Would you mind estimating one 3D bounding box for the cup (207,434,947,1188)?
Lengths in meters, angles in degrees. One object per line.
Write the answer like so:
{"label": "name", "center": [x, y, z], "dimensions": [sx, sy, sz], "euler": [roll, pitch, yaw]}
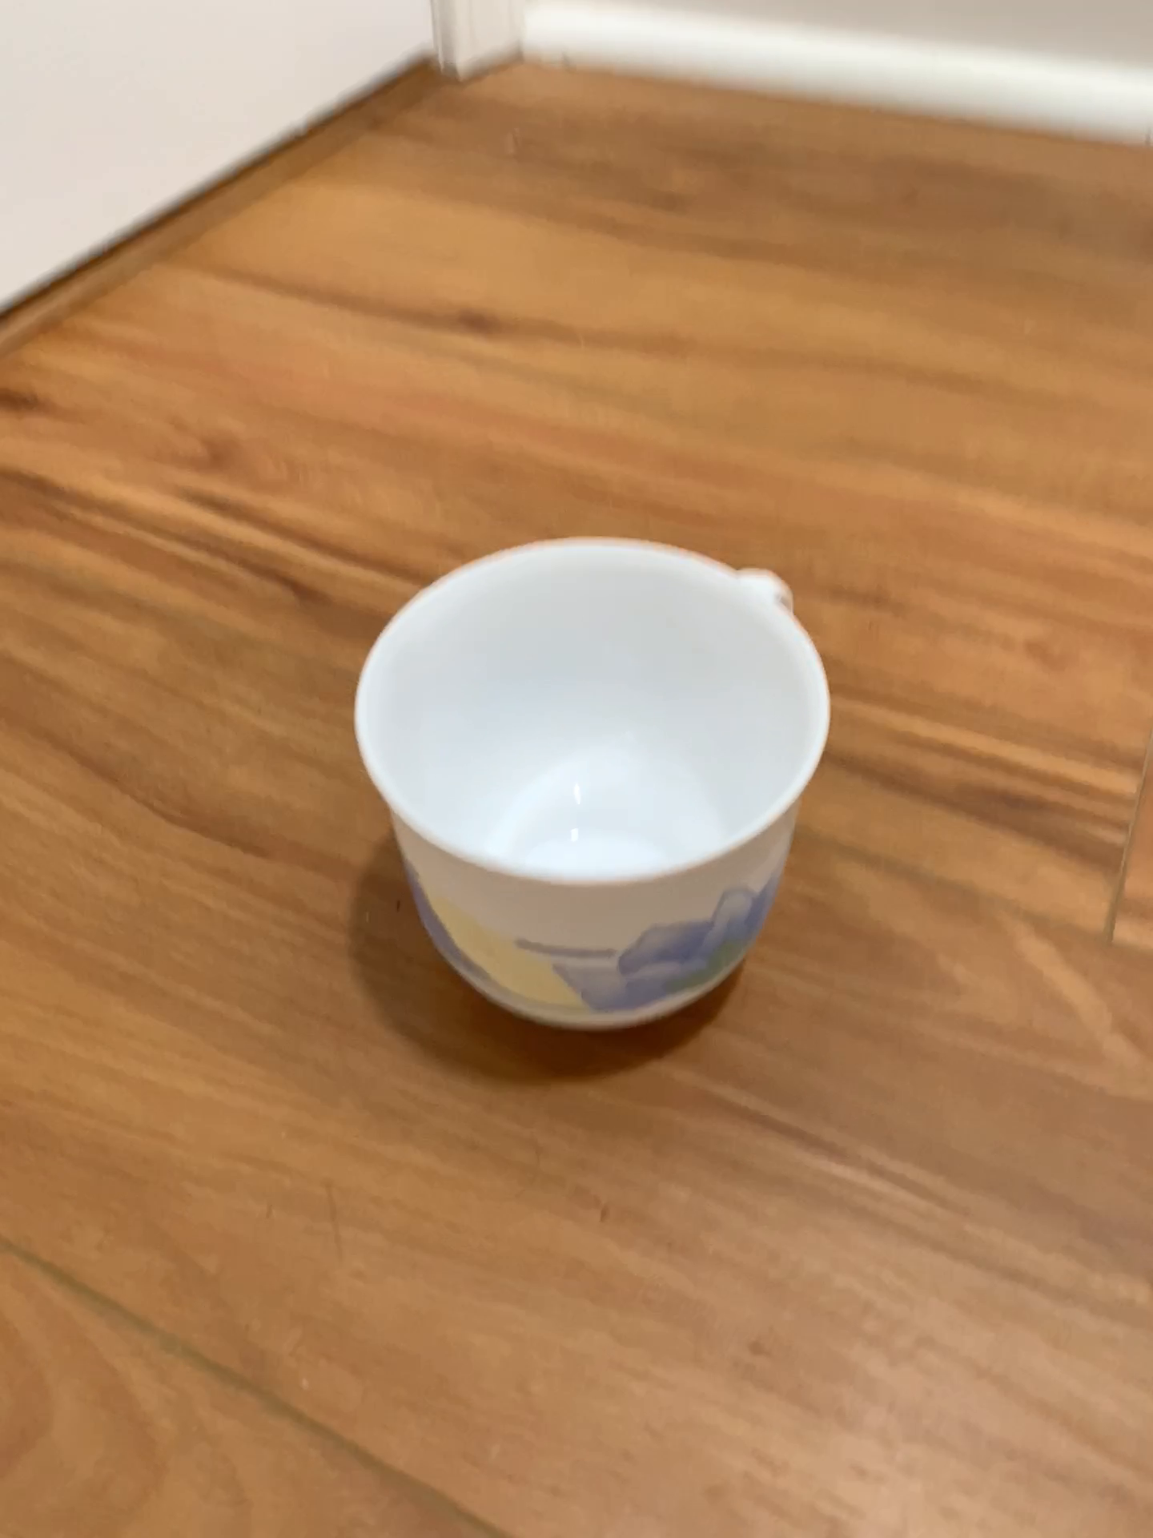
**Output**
{"label": "cup", "center": [0.005, 0.001, 0.224], "dimensions": [0.084, 0.063, 0.104], "euler": [24, 52, 21]}
